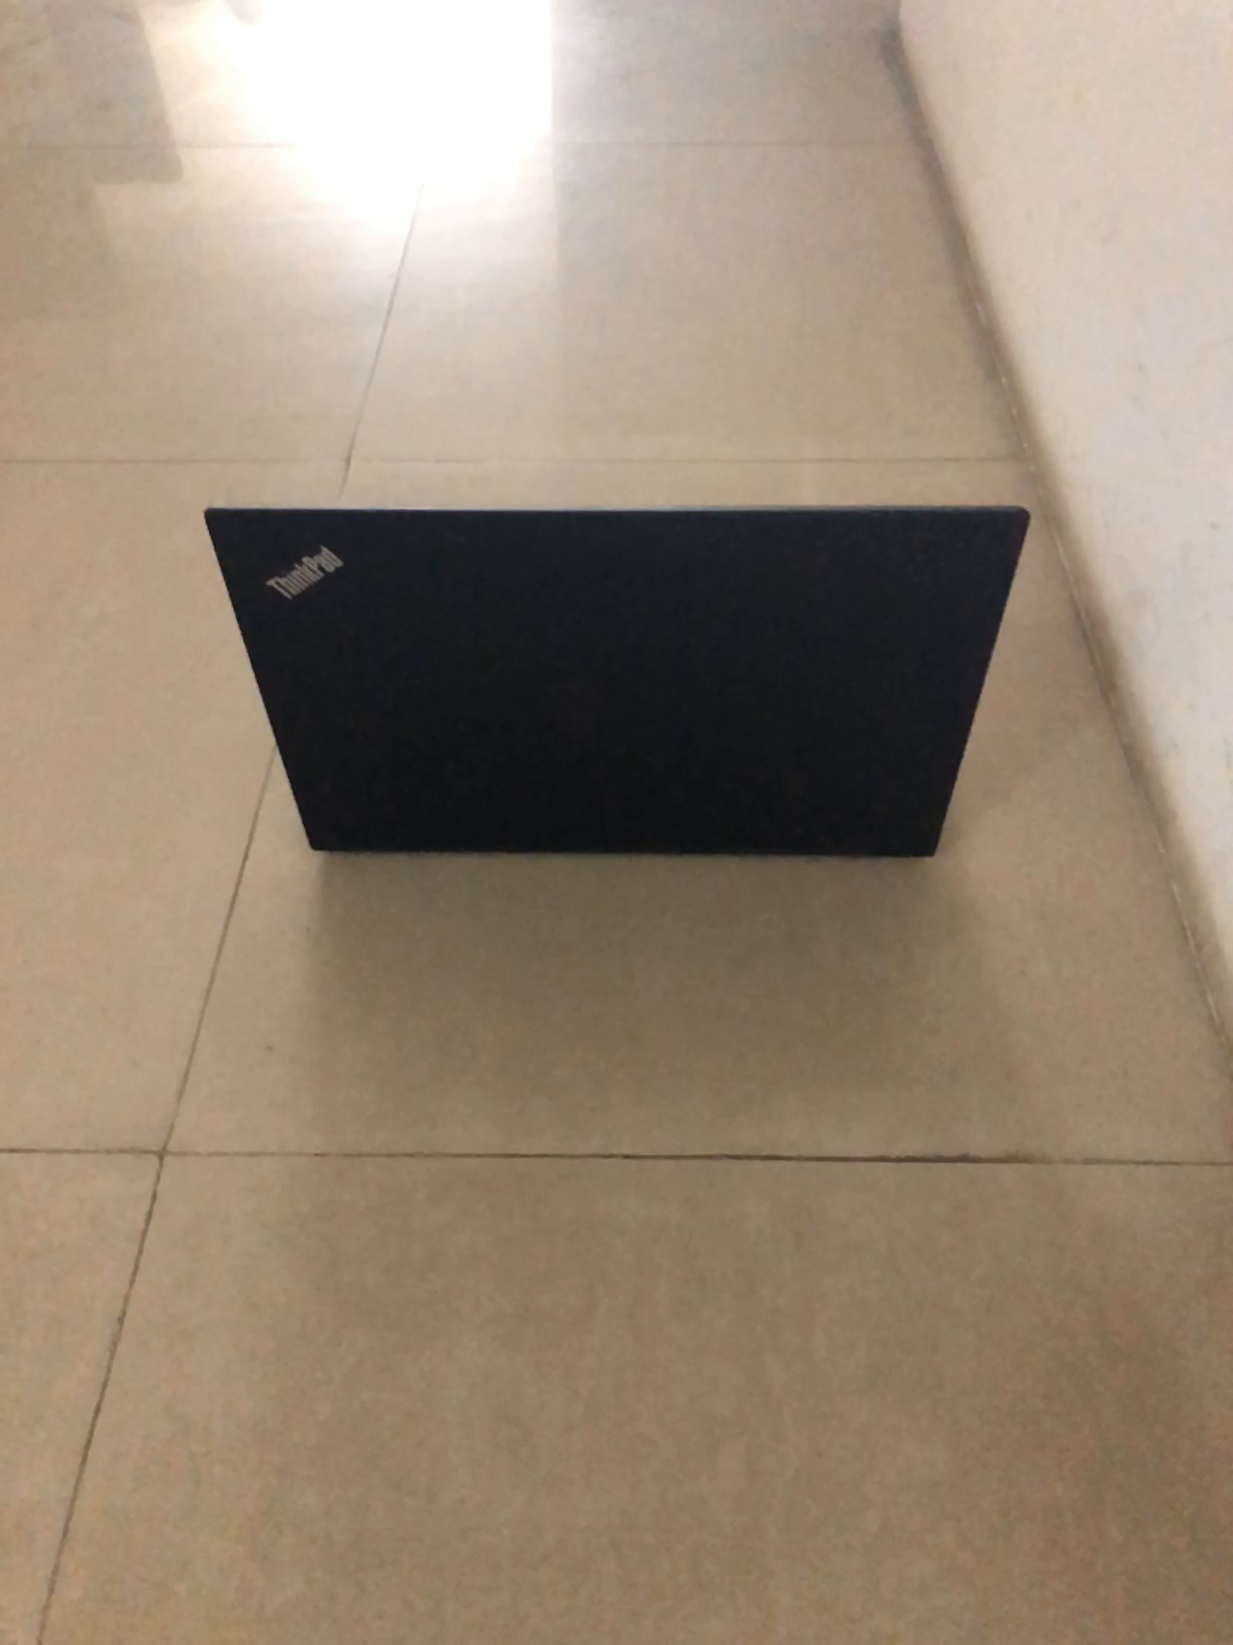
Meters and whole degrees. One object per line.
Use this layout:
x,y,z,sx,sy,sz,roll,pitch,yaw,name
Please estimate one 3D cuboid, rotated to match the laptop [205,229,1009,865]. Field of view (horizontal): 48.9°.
0.002,-0.155,0.769,0.353,0.240,0.256,1,49,1,laptop
